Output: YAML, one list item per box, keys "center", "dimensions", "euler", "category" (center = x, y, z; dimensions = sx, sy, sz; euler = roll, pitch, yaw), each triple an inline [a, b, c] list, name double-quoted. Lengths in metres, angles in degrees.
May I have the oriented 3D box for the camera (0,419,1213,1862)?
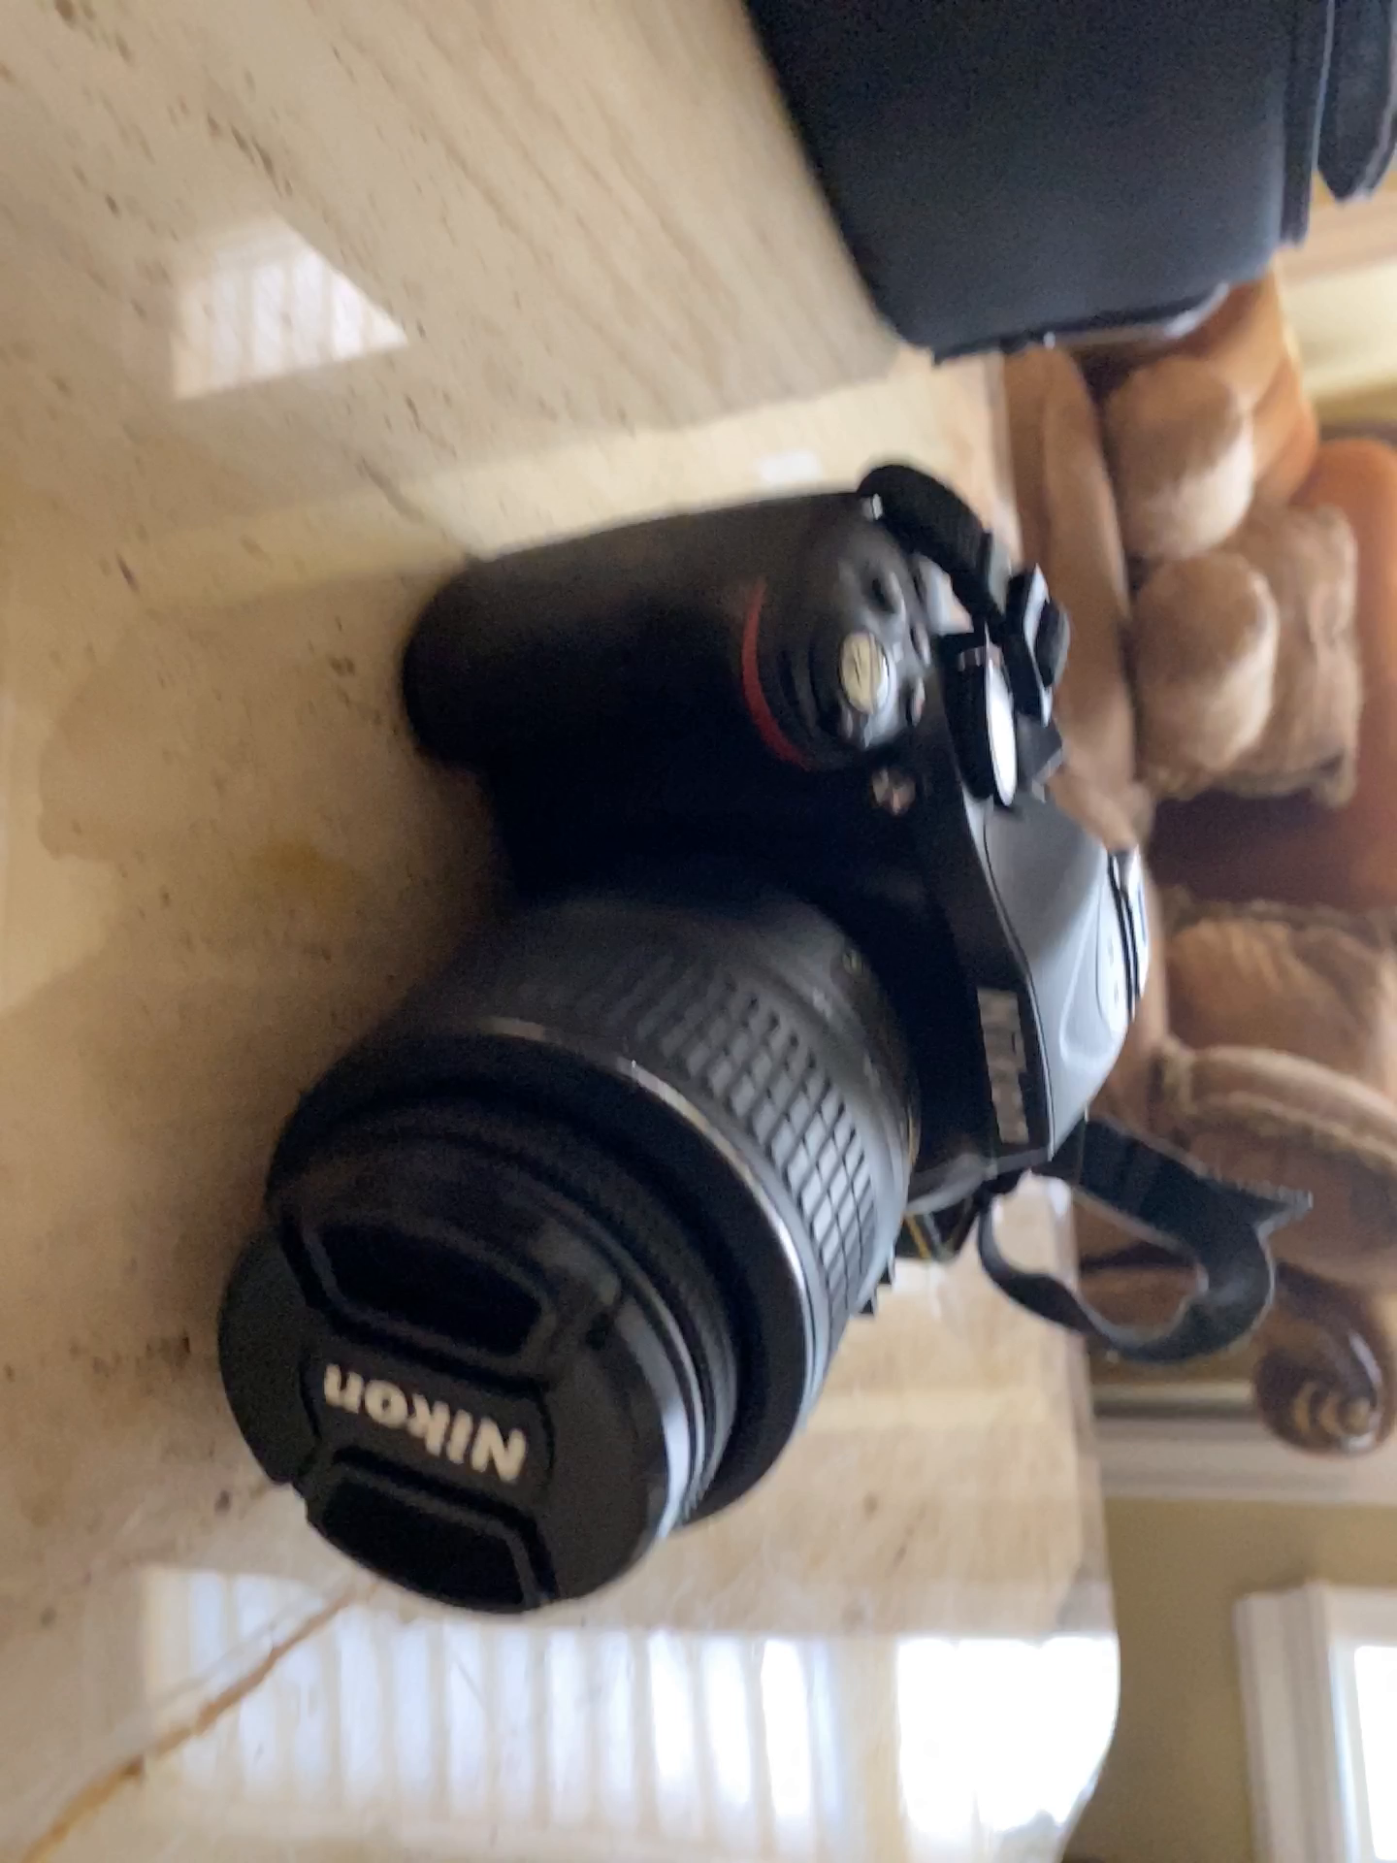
- center: [0.014, 0.016, 0.218]
  dimensions: [0.160, 0.100, 0.152]
  euler: [-51, 132, -63]
  category: "camera"
